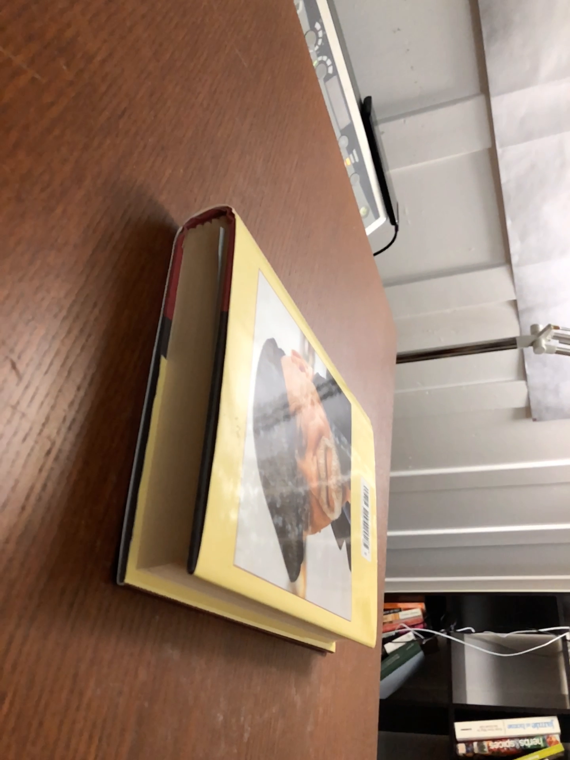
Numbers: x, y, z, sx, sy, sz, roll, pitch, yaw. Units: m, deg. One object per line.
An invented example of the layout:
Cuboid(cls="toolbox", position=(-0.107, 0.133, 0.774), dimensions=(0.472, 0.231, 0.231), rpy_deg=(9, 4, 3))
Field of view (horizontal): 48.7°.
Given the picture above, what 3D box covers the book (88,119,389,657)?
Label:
Cuboid(cls="book", position=(0.008, 0.030, 0.333), dimensions=(0.251, 0.030, 0.190), rpy_deg=(50, 38, -54))
